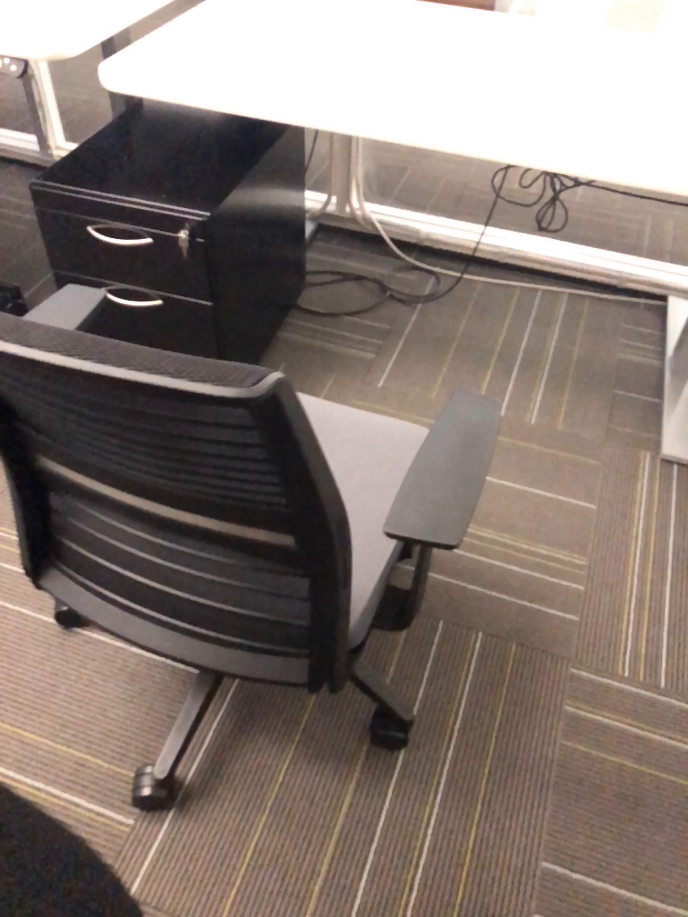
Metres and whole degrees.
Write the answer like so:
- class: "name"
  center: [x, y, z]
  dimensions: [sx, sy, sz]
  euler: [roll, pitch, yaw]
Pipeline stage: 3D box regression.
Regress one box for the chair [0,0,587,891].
- class: "chair"
  center: [-0.176, -0.022, 1.067]
  dimensions: [0.720, 0.906, 0.683]
  euler: [14, 46, 11]
